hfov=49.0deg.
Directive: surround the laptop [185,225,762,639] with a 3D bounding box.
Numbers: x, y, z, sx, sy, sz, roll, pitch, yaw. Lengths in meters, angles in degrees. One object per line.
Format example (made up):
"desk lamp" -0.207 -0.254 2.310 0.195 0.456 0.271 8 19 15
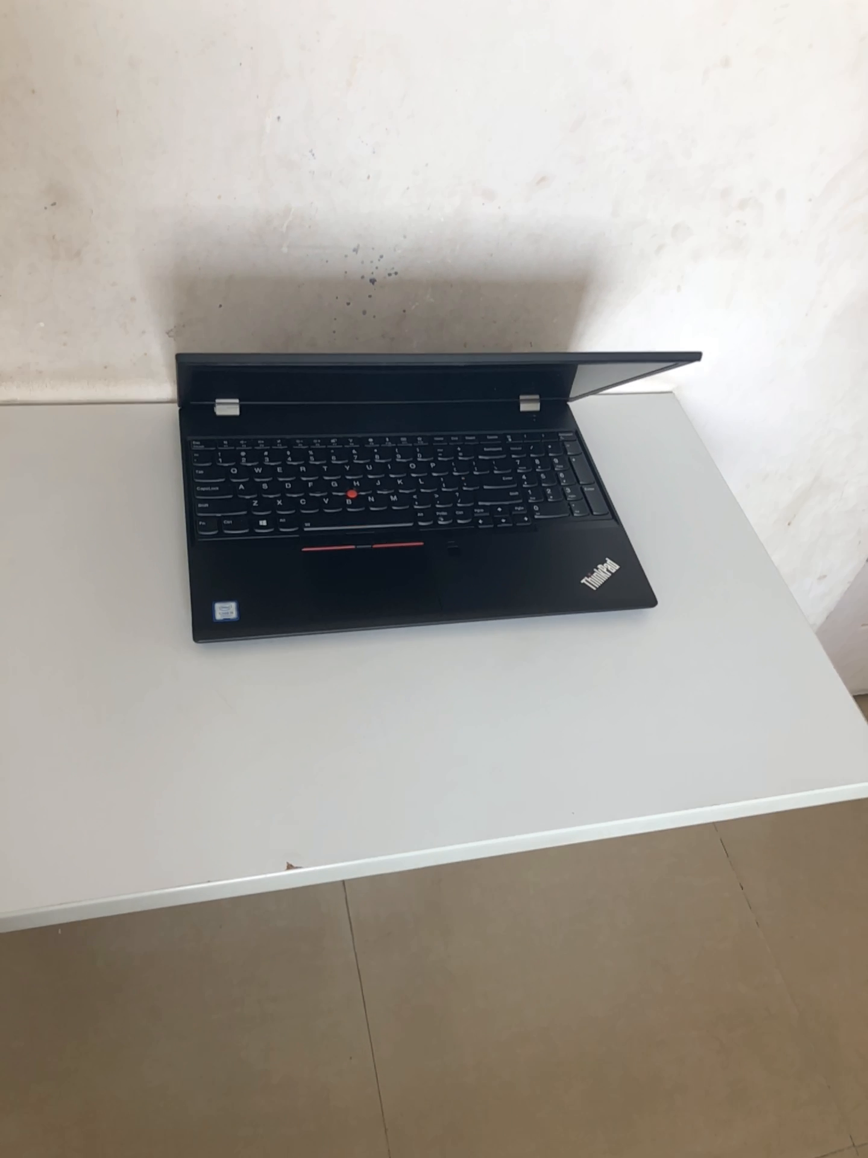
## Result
"laptop" 0.004 -0.114 0.708 0.347 0.173 0.235 -3 51 -13
